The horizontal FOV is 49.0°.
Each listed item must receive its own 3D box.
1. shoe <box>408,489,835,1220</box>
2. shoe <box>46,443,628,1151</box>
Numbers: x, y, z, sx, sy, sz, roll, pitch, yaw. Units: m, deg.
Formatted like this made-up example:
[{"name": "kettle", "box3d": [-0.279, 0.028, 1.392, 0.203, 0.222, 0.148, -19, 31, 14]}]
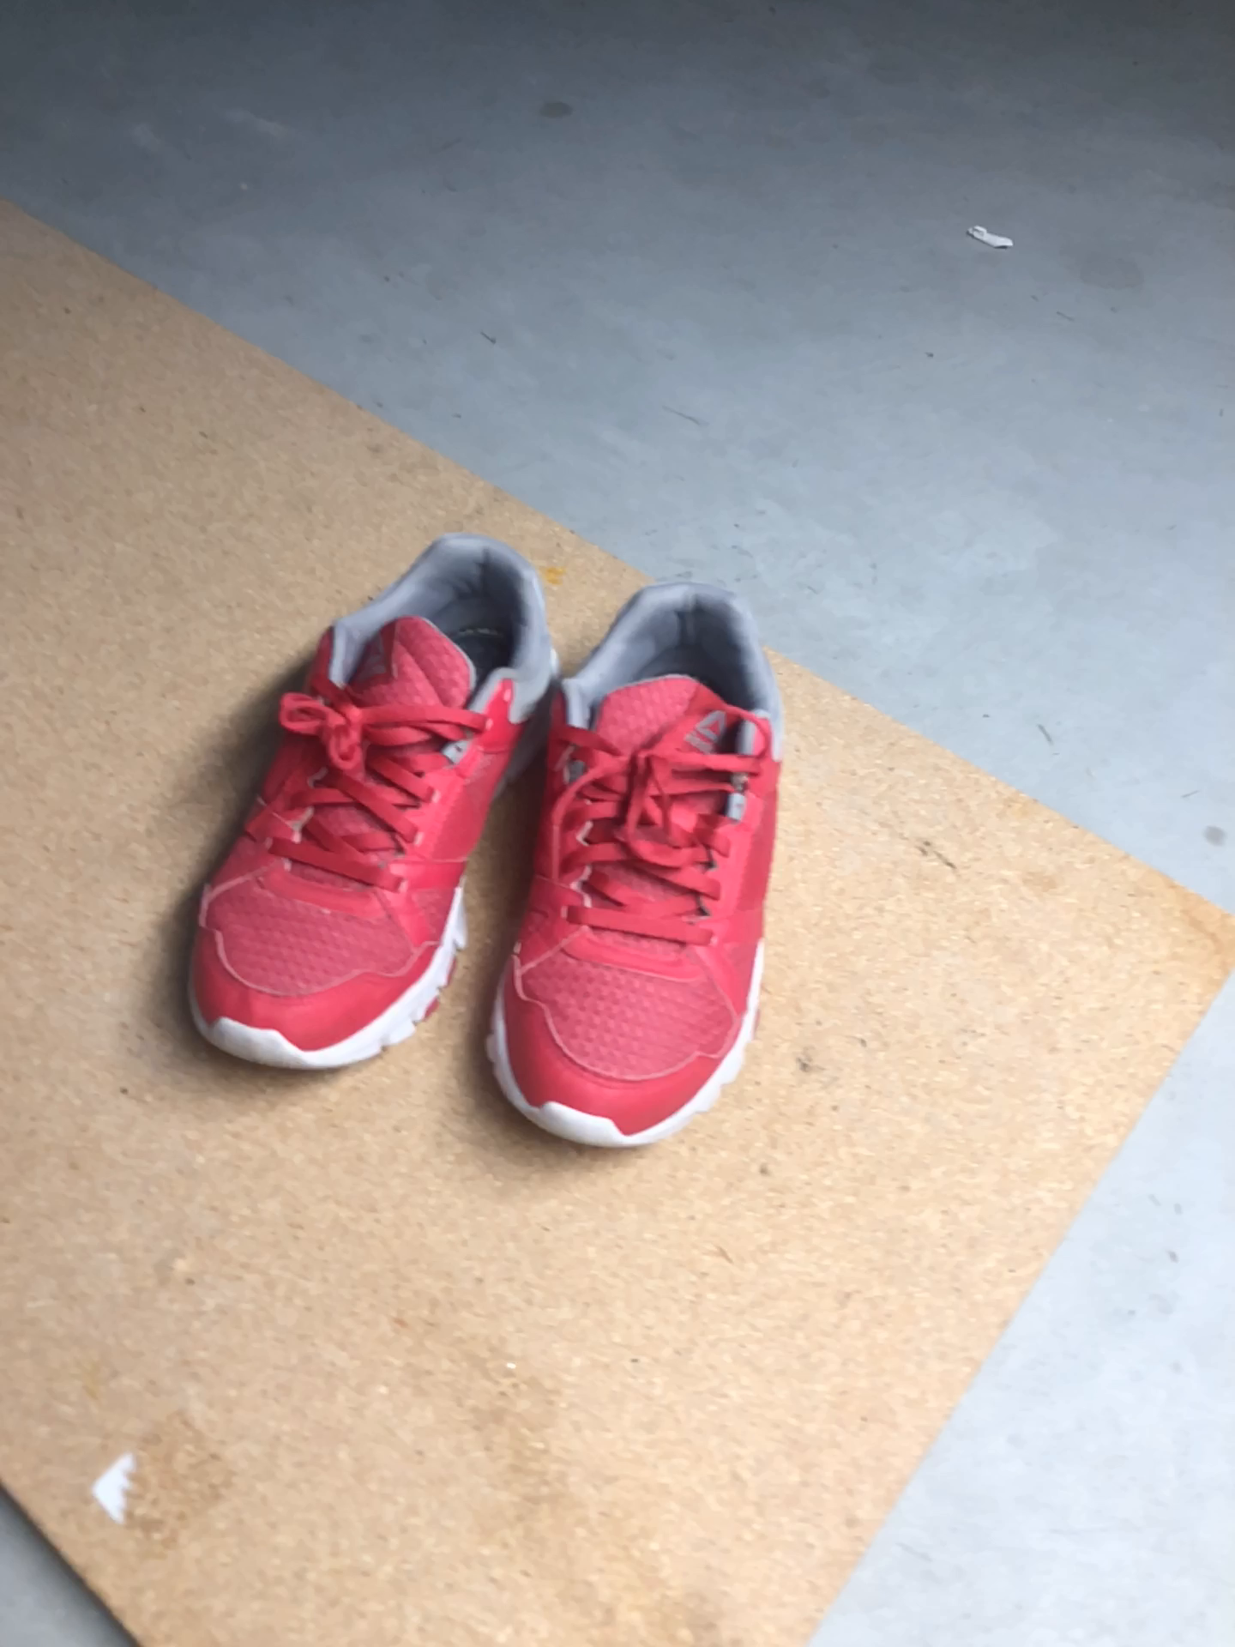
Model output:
[{"name": "shoe", "box3d": [0.011, -0.002, 0.536, 0.110, 0.100, 0.271, 11, 50, 3]}, {"name": "shoe", "box3d": [-0.092, -0.025, 0.542, 0.100, 0.100, 0.271, 18, 51, 9]}]
